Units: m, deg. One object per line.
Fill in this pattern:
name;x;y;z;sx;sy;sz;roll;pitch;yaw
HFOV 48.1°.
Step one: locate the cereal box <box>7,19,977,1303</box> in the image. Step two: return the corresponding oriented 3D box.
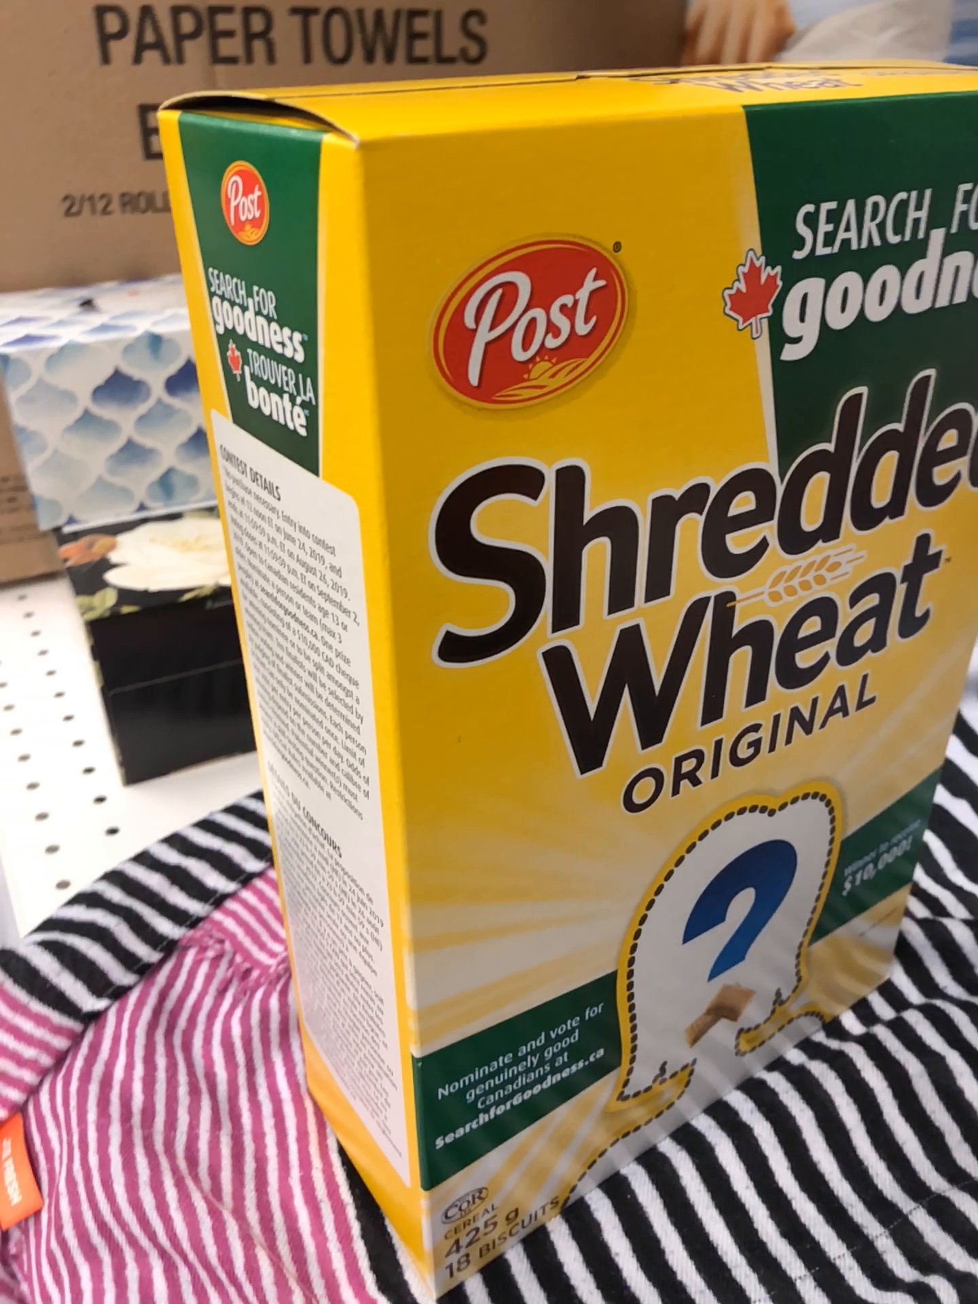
cereal box;0.029;-0.003;0.276;0.210;0.269;0.080;-20;35;-30
